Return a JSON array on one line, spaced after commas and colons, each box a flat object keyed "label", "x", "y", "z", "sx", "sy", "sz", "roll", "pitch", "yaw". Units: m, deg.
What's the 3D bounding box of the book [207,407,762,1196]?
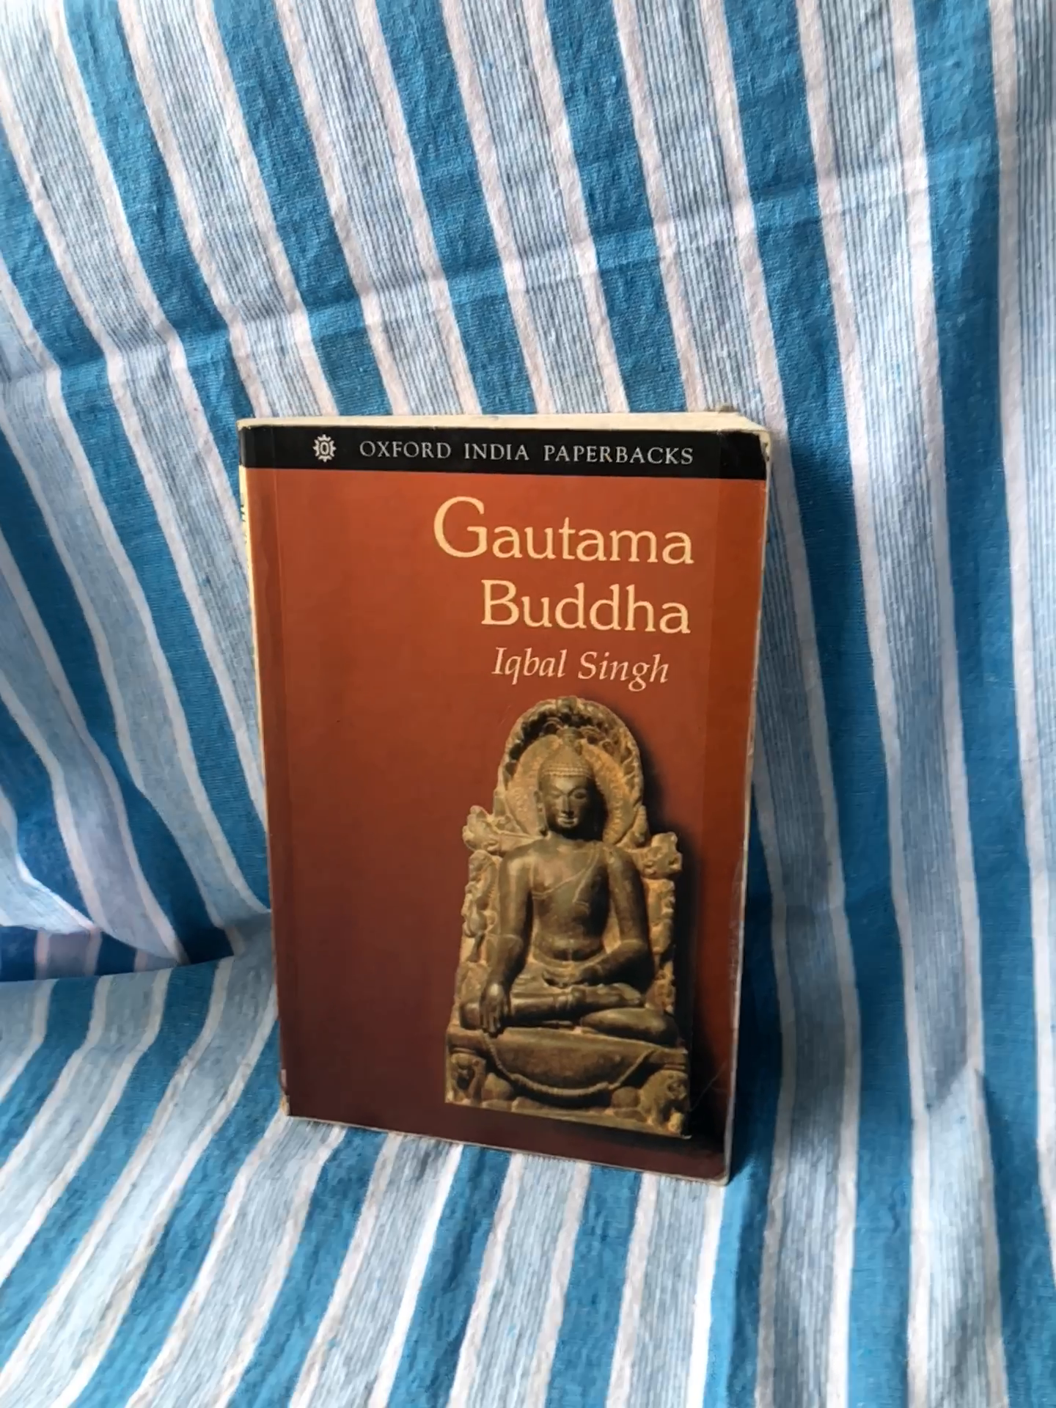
[{"label": "book", "x": -0.009, "y": 0.025, "z": 0.332, "sx": 0.140, "sy": 0.209, "sz": 0.040, "roll": 3, "pitch": 14, "yaw": 15}]
